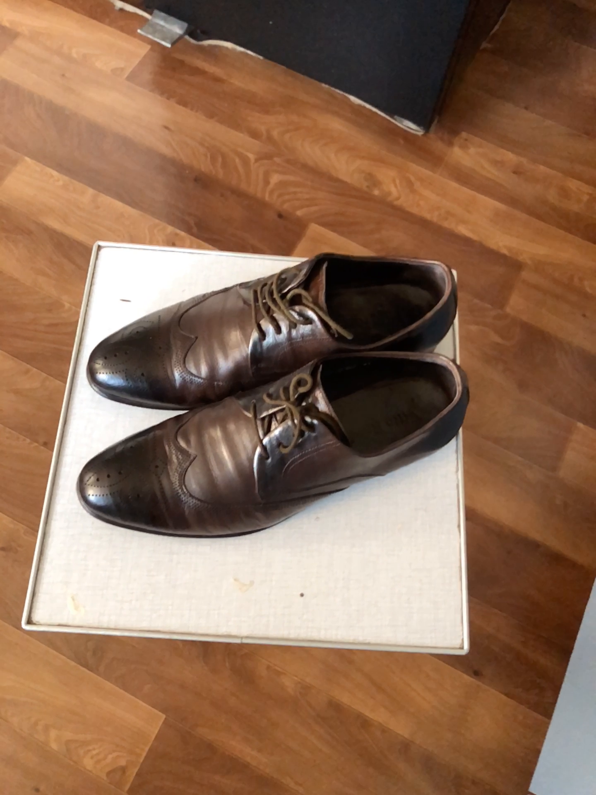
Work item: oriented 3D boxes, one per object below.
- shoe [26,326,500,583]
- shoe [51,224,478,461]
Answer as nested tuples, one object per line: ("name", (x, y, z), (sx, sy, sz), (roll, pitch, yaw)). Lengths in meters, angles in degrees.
("shoe", (-0.024, 0.043, 0.470), (0.290, 0.100, 0.100), (-12, 71, -8))
("shoe", (-0.026, -0.041, 0.517), (0.290, 0.100, 0.100), (-12, 71, -8))
